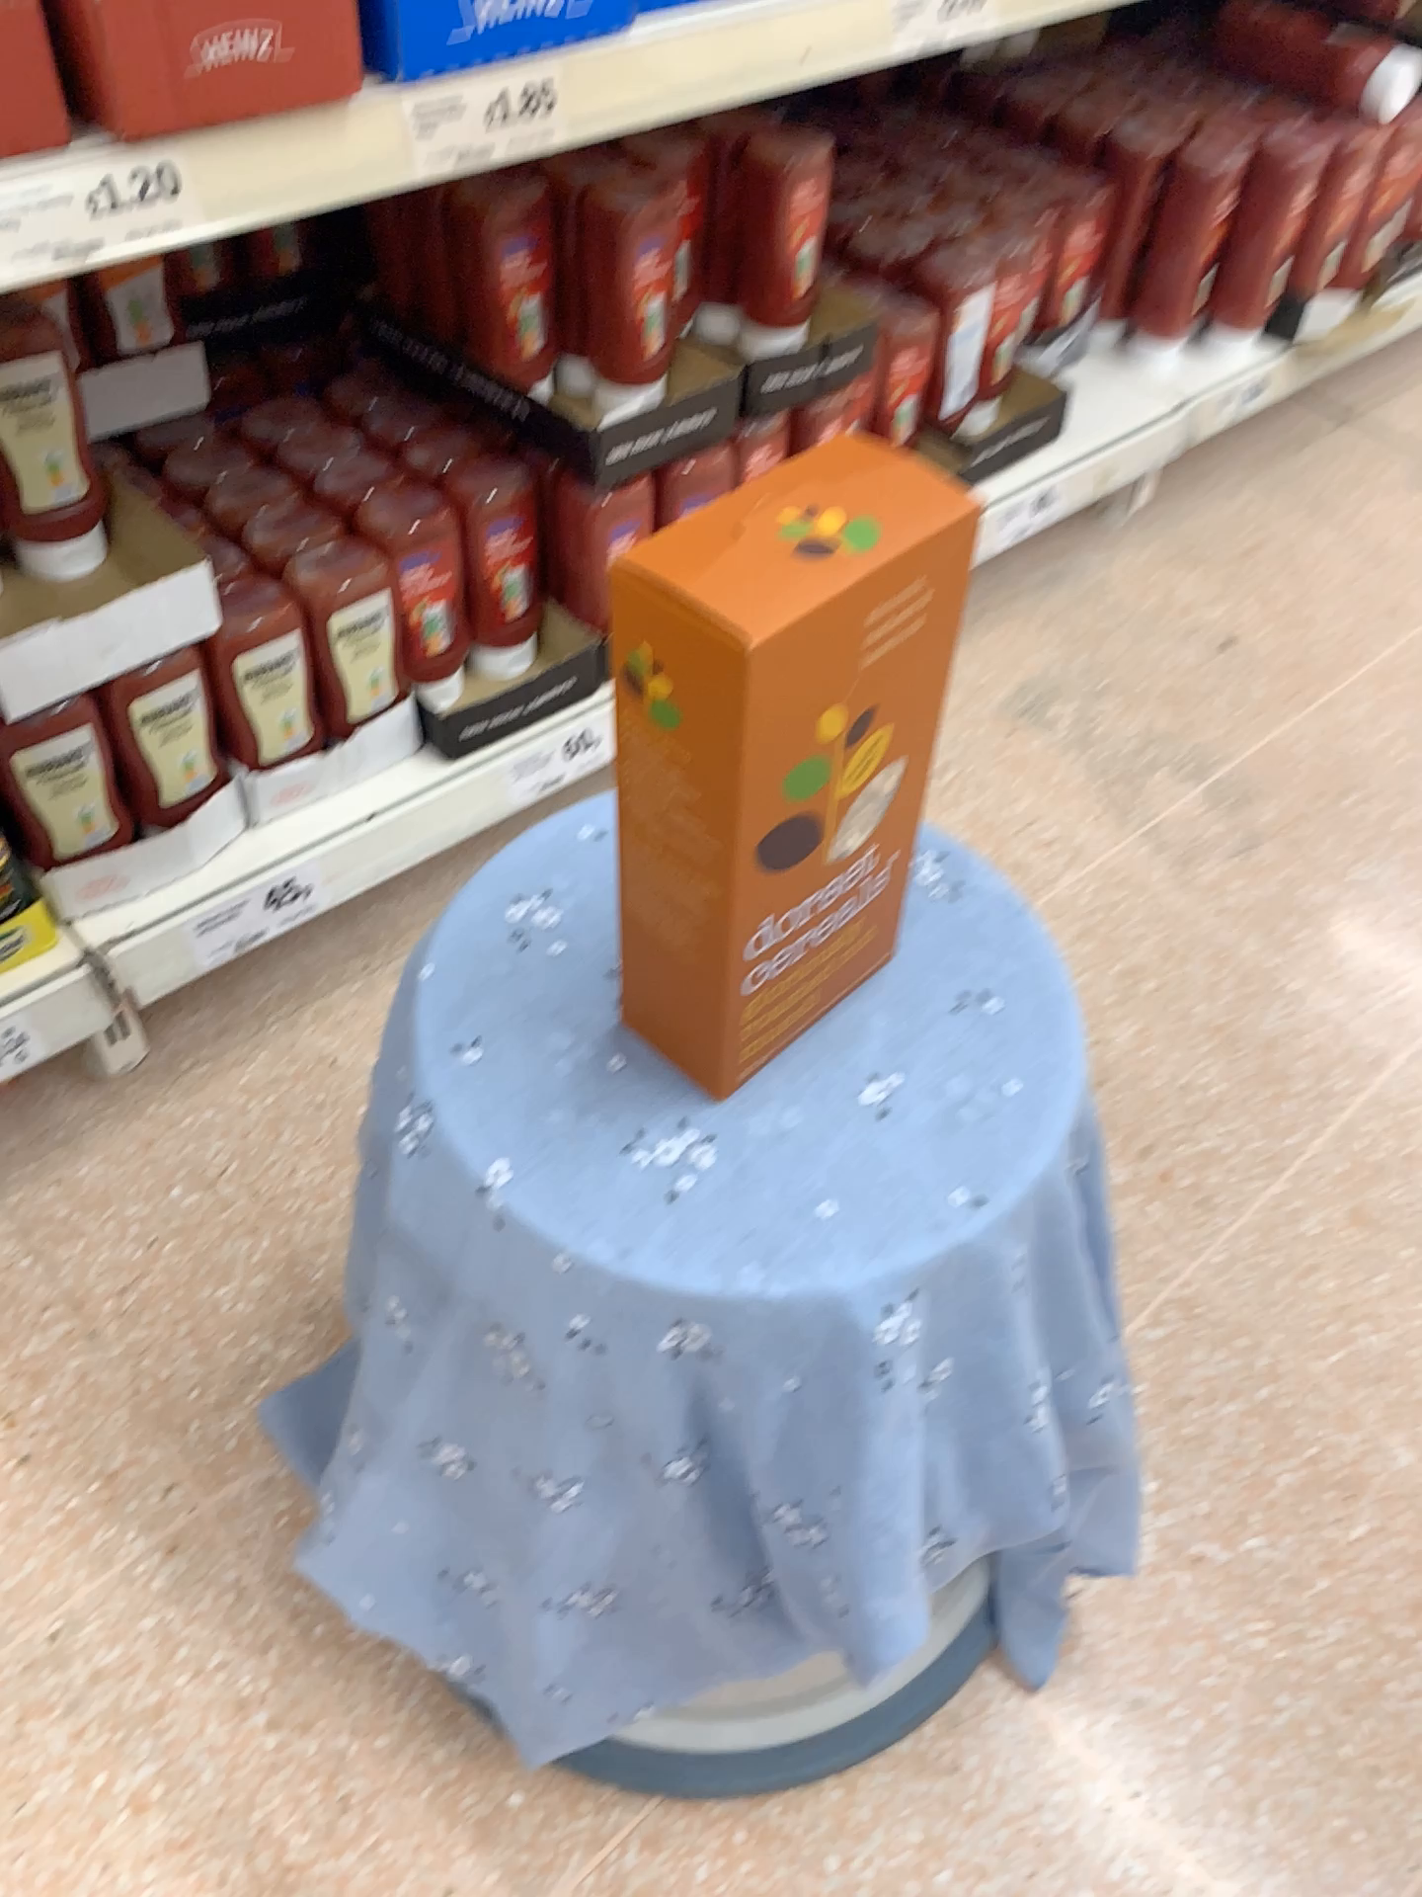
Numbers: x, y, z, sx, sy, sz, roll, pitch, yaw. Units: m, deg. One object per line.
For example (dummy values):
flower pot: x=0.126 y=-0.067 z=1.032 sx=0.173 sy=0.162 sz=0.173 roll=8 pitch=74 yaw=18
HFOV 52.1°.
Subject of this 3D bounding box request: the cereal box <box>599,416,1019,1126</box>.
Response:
cereal box: x=0.027 y=-0.056 z=0.537 sx=0.070 sy=0.228 sz=0.121 roll=36 pitch=55 yaw=26
